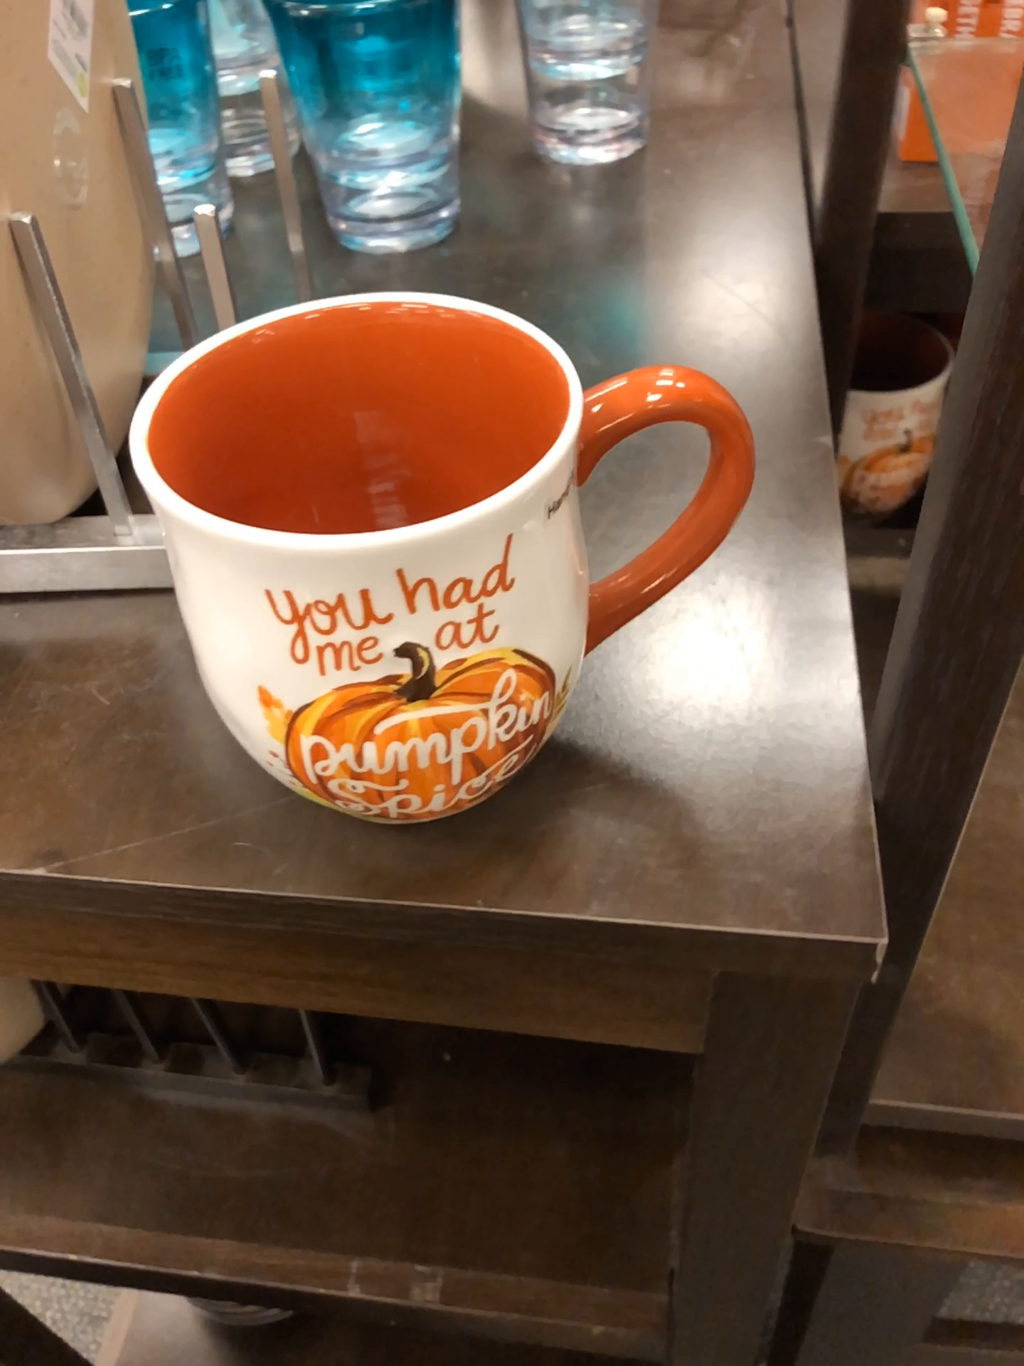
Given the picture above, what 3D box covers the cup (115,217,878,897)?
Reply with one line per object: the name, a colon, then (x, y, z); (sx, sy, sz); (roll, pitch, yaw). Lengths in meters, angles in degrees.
cup: (-0.009, -0.034, 0.279); (0.143, 0.094, 0.102); (-14, 46, -8)
